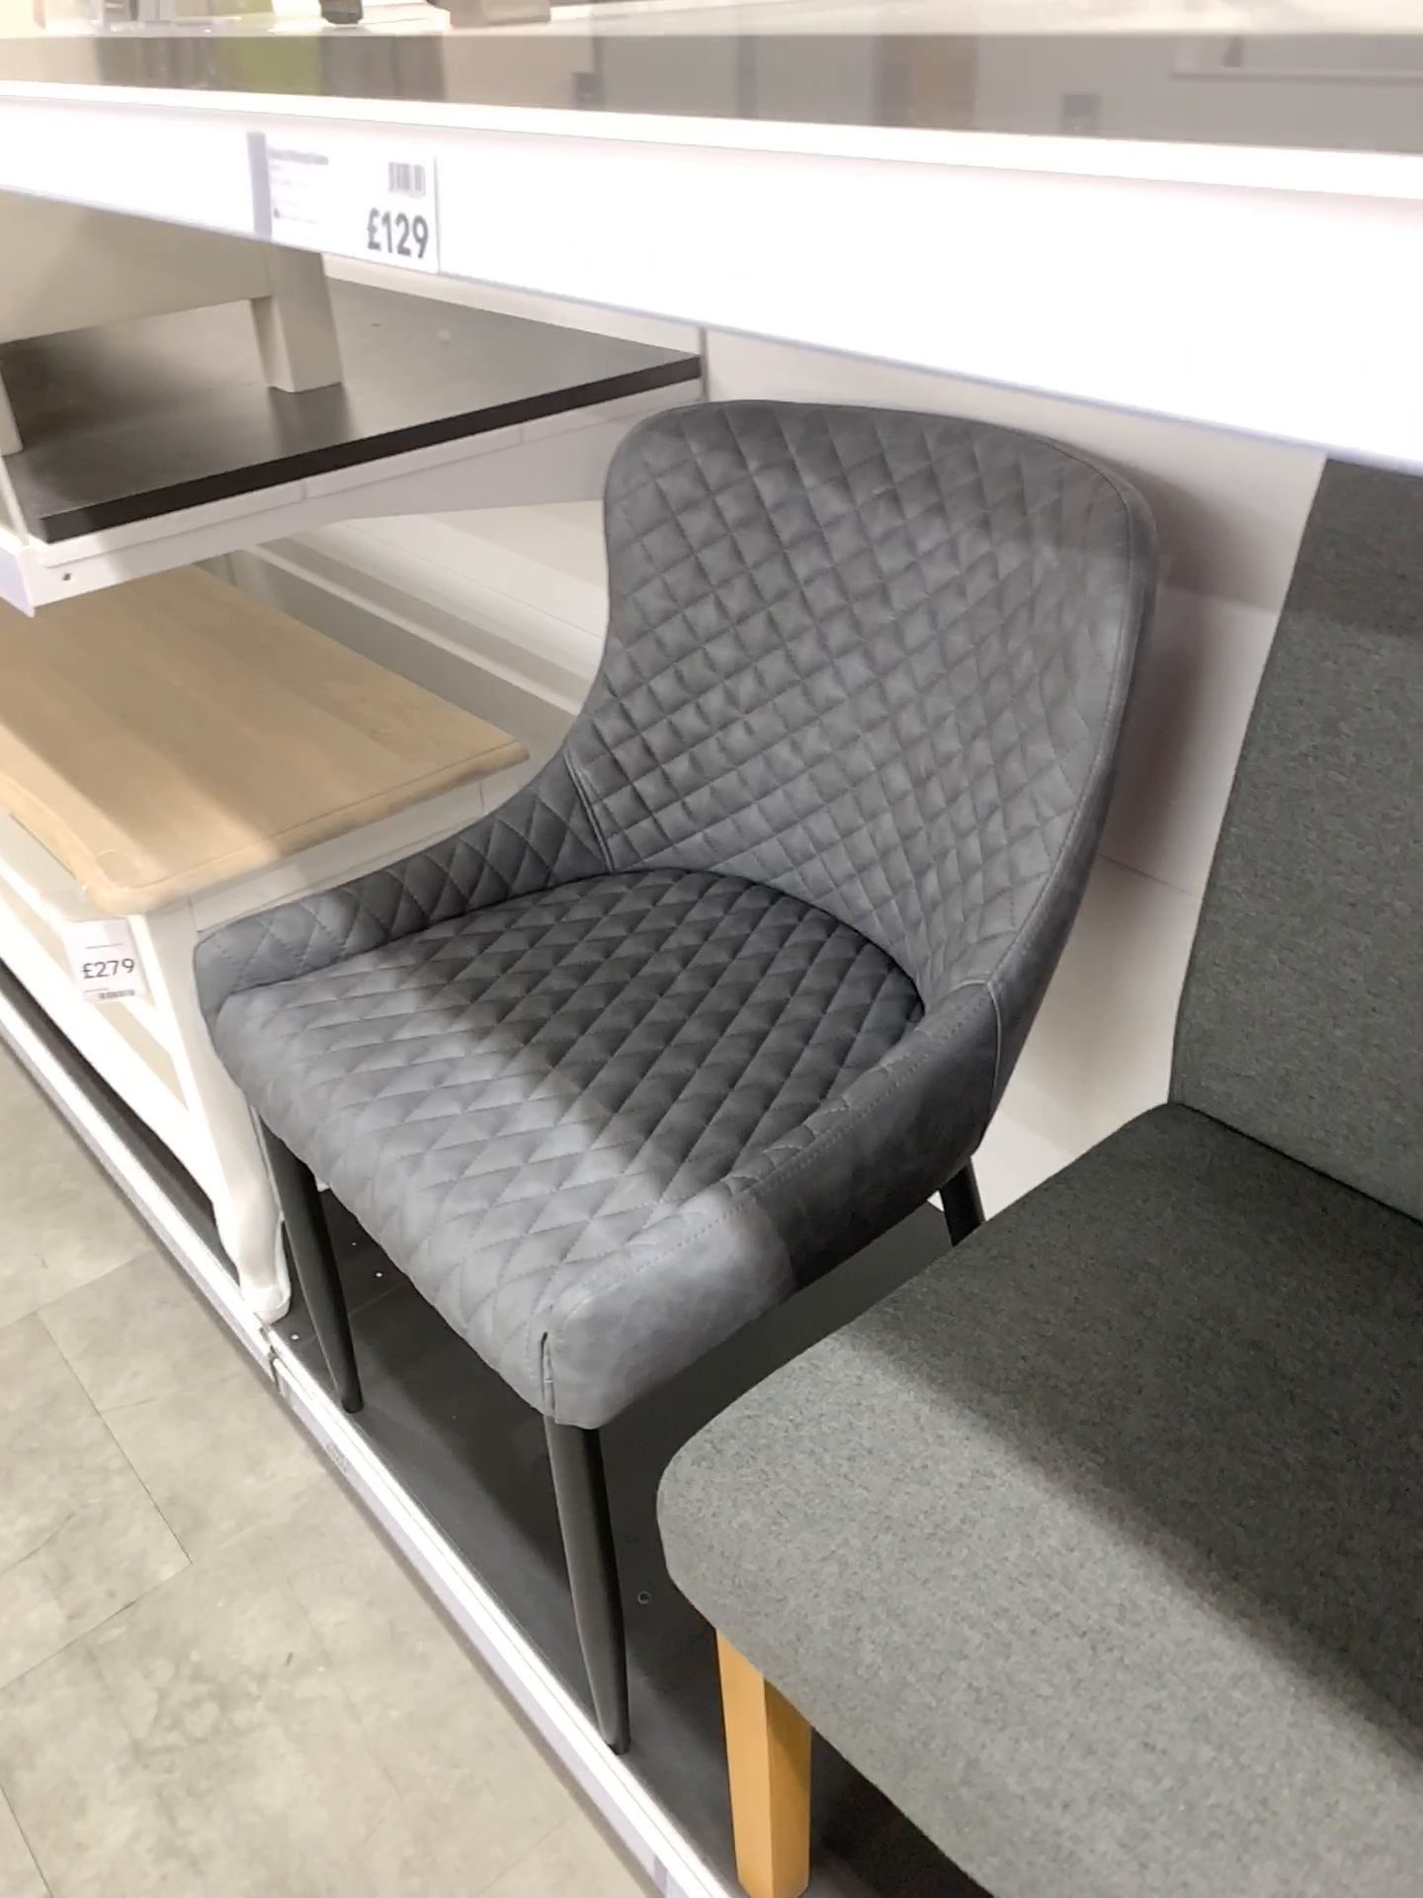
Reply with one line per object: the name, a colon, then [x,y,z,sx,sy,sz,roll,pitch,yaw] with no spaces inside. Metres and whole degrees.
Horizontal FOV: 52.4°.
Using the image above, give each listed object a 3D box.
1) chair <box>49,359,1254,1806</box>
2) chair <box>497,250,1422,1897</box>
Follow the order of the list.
chair: [-0.024,0.059,1.082,0.542,0.792,0.483,-27,40,-32]
chair: [0.302,0.203,0.738,0.562,0.911,0.433,-28,41,-32]
